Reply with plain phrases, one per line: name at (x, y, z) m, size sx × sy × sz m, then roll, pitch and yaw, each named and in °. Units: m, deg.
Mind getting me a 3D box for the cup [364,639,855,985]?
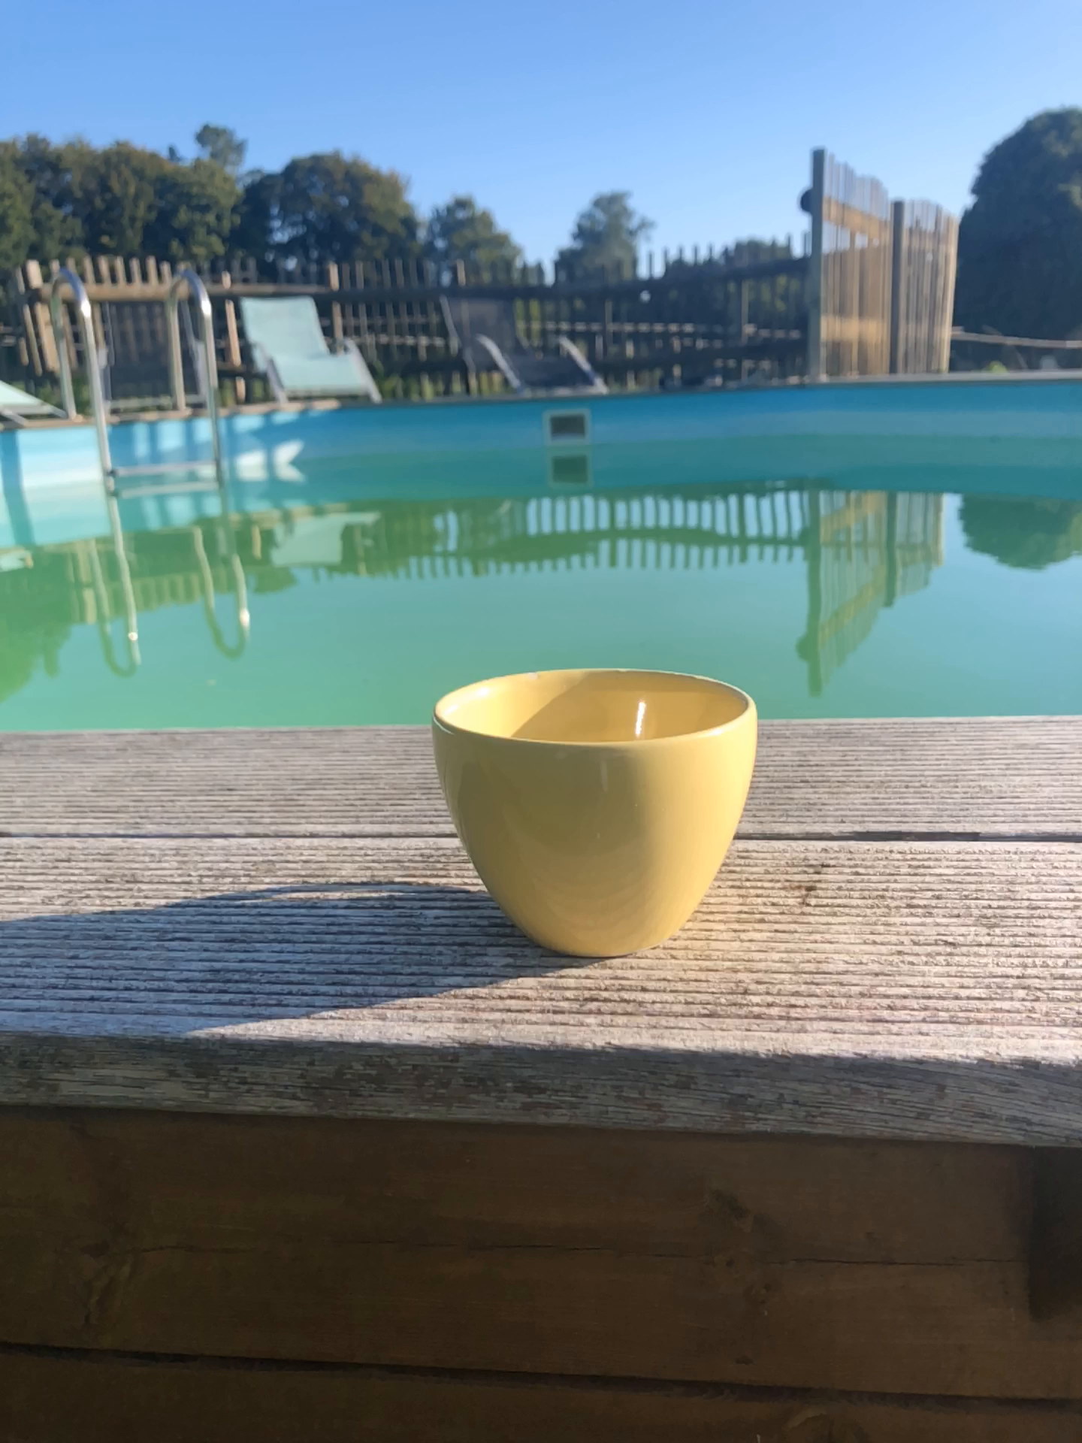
cup at (0.023, 0.016, 0.338) m, size 0.089 × 0.053 × 0.112 m, roll 9°, pitch 18°, yaw 36°
